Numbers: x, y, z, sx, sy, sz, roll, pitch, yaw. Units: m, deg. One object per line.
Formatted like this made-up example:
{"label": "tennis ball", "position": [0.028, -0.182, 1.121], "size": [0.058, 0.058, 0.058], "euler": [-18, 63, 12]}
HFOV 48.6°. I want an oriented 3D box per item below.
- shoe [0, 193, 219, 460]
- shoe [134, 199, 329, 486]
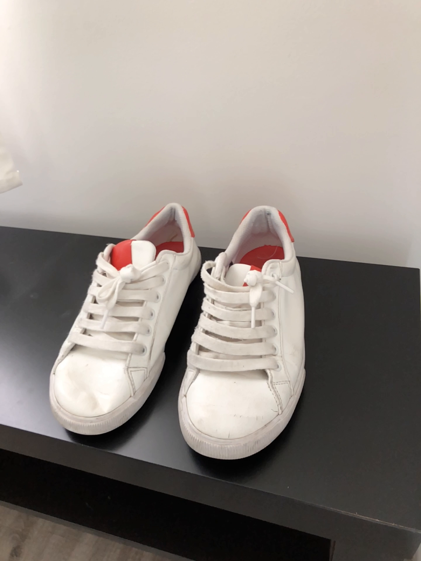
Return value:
{"label": "shoe", "position": [-0.076, 0.021, 0.416], "size": [0.102, 0.080, 0.236], "euler": [6, 43, 16]}
{"label": "shoe", "position": [0.034, 0.031, 0.388], "size": [0.100, 0.080, 0.231], "euler": [6, 43, 16]}
